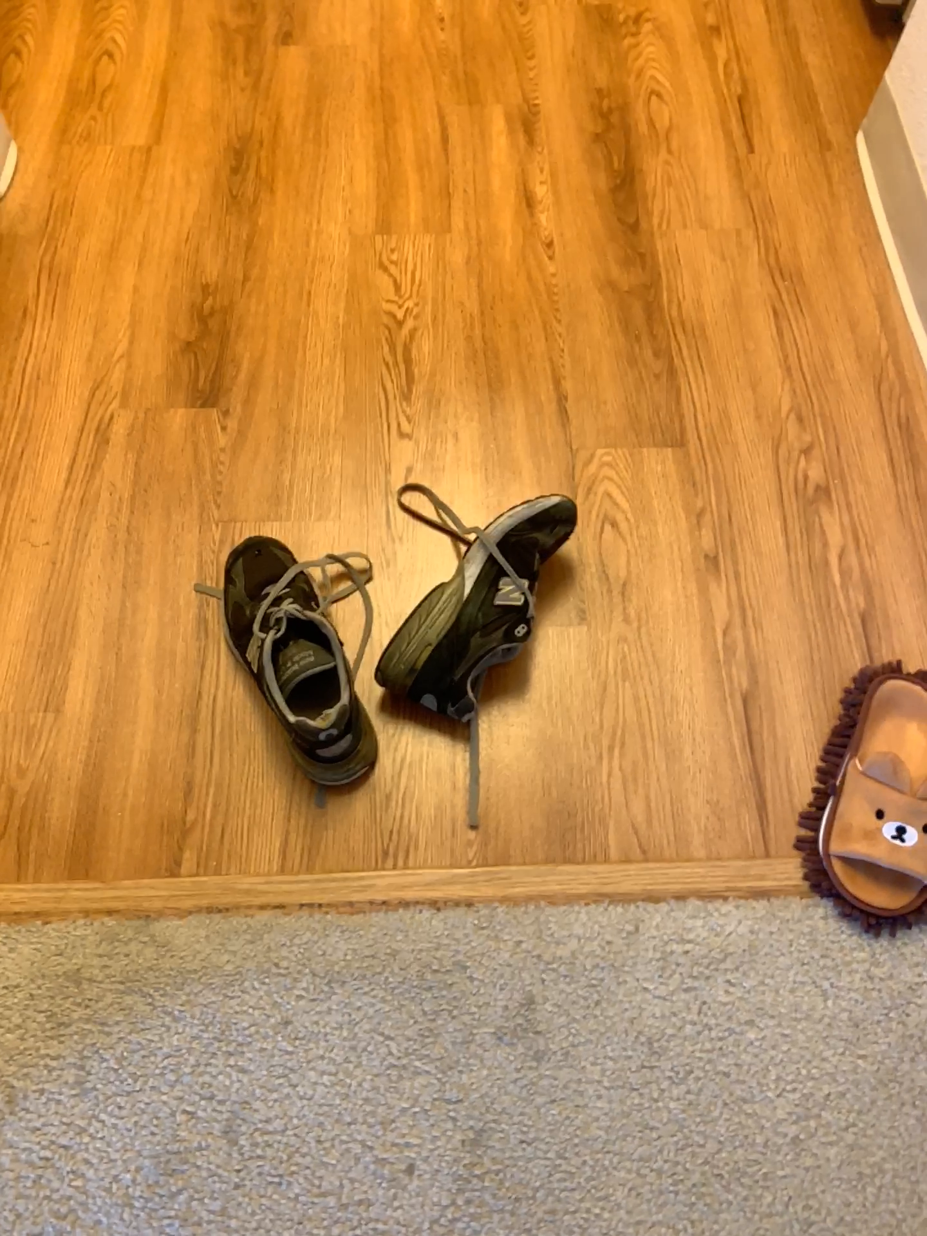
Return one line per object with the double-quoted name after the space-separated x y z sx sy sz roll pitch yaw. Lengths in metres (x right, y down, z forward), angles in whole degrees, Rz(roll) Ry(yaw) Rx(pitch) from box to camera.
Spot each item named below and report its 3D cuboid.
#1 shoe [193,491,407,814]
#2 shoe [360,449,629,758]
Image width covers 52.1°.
-0.190 0.041 1.118 0.120 0.170 0.321 -23 66 -11 "shoe"
0.047 -0.021 1.074 0.120 0.130 0.320 31 67 25 "shoe"
